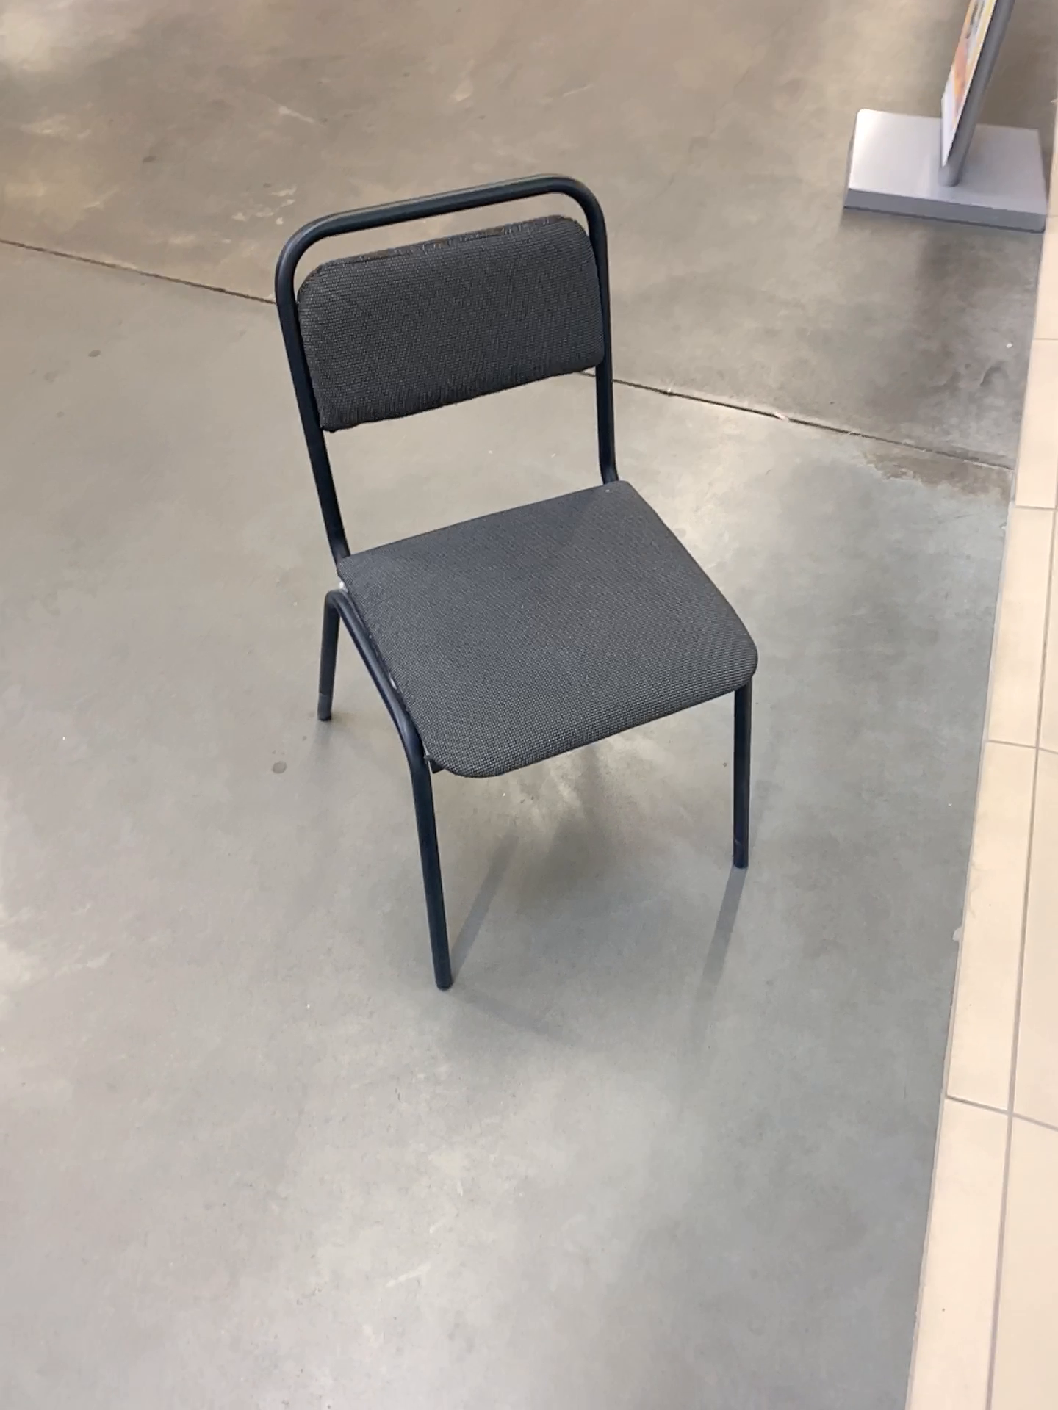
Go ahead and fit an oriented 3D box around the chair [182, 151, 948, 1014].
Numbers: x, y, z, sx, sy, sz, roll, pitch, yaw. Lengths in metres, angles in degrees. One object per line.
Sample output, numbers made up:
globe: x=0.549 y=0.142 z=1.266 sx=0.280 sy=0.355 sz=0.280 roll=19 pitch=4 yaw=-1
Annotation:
chair: x=-0.012 y=-0.142 z=1.356 sx=0.550 sy=0.737 sz=0.632 roll=-18 pitch=53 yaw=-15
